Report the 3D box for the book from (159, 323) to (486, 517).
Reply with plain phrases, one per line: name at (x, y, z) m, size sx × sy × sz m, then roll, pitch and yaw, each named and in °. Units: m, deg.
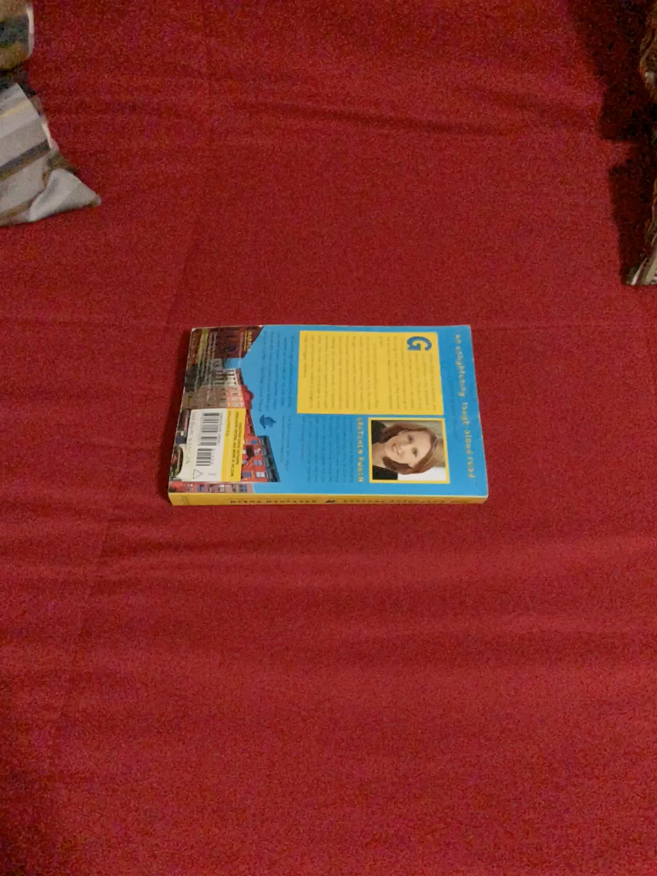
book at (-0.003, -0.016, 0.463) m, size 0.202 × 0.033 × 0.133 m, roll 1°, pitch 61°, yaw 1°
